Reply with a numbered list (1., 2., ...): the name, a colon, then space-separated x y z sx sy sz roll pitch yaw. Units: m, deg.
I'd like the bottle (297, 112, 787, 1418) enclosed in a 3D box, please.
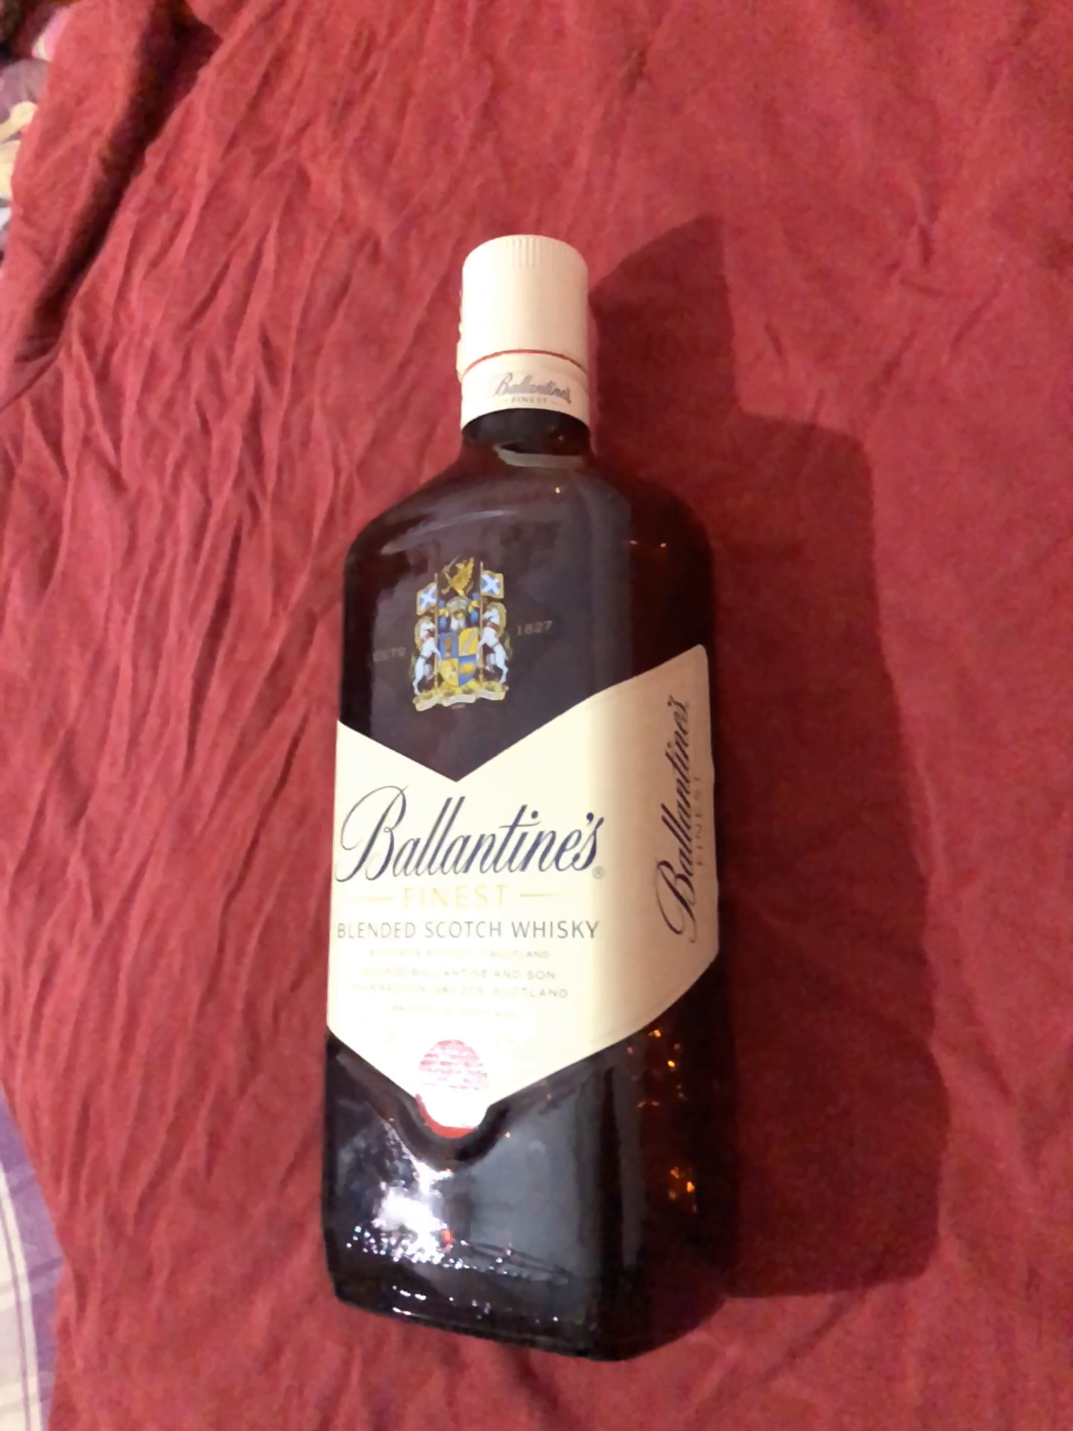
1. bottle: -0.001 0.006 0.271 0.090 0.050 0.250 -6 79 30
